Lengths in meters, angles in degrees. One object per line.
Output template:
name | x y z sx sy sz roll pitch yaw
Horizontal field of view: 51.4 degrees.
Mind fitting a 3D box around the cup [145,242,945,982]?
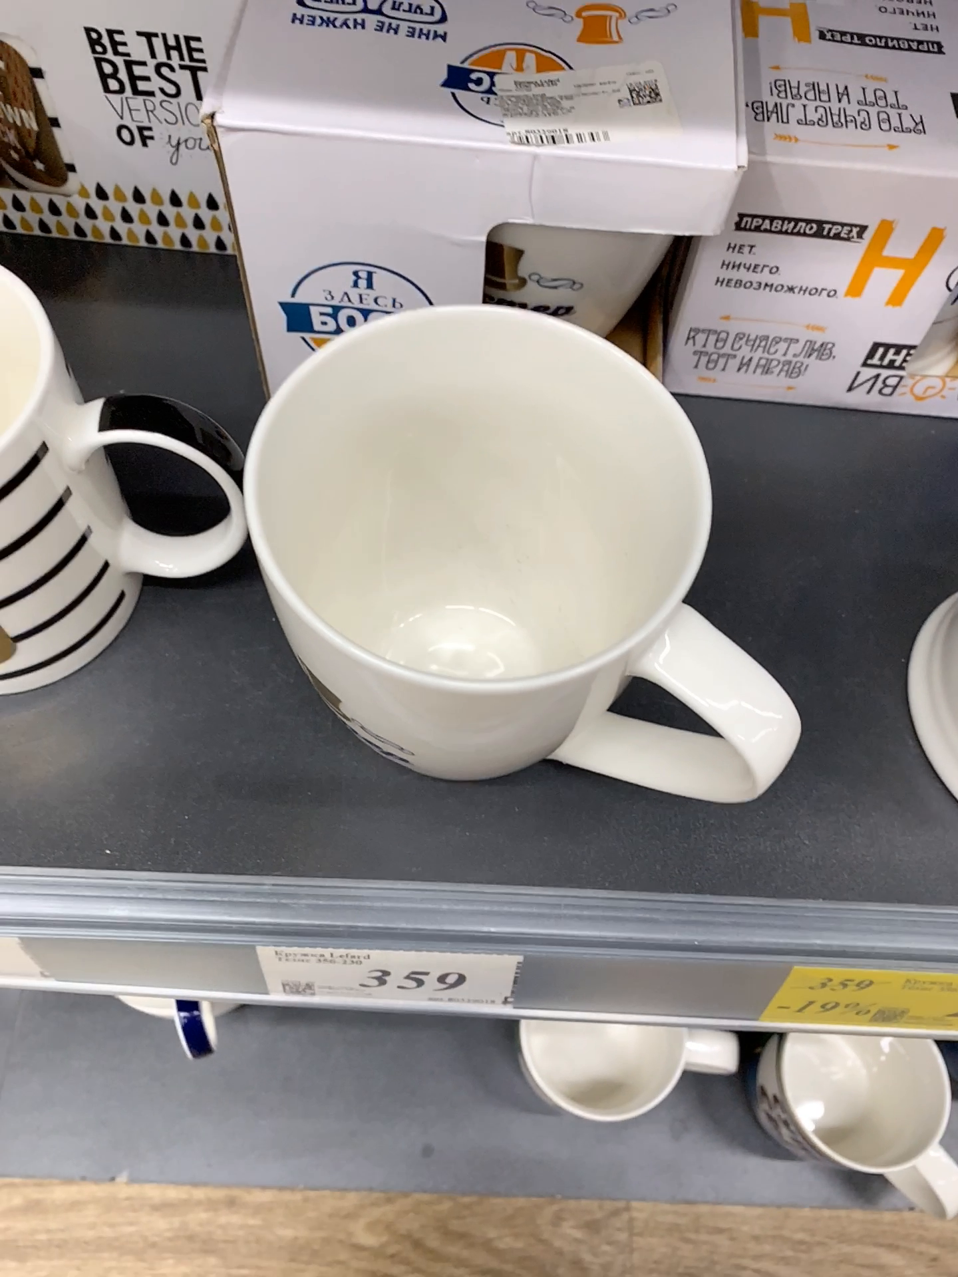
cup | 0.013 -0.003 0.241 0.131 0.093 0.093 33 66 13
